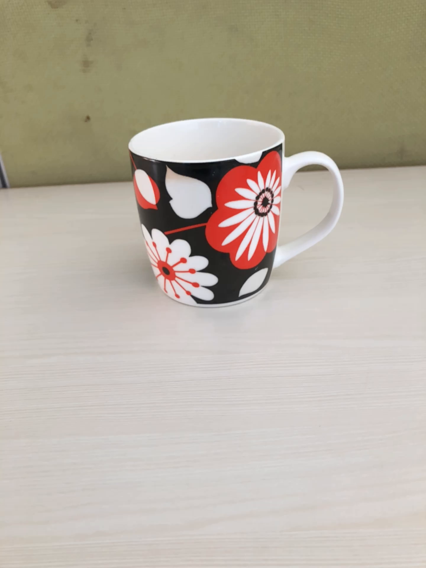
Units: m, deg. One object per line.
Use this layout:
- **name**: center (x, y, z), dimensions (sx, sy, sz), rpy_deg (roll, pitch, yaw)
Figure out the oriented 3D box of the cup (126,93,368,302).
- **cup**: center (0.014, -0.058, 0.292), dimensions (0.120, 0.089, 0.091), rpy_deg (-7, 30, -7)
